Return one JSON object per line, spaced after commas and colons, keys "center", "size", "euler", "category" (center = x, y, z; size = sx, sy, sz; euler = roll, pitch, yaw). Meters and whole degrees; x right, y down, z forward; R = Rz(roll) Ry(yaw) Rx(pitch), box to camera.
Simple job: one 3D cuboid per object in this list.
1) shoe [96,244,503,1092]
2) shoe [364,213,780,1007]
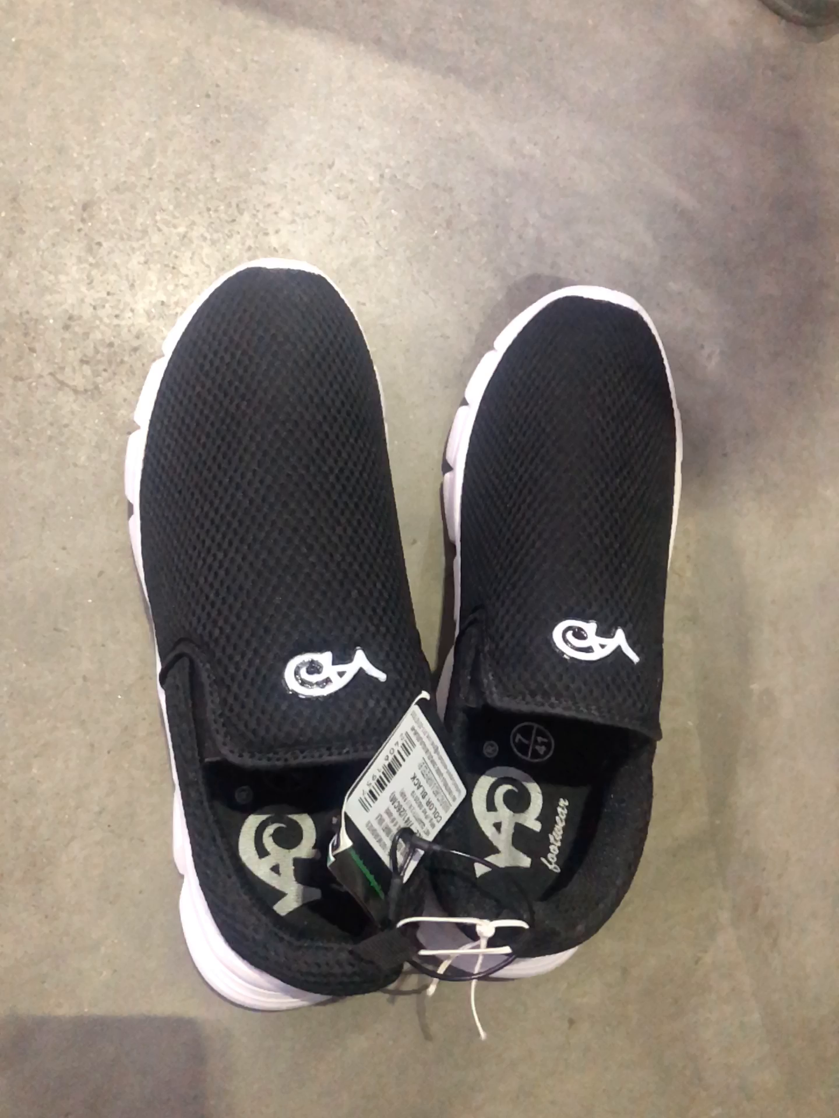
{"center": [-0.052, 0.030, 0.349], "size": [0.110, 0.100, 0.260], "euler": [-4, 85, -17], "category": "shoe"}
{"center": [0.058, 0.018, 0.382], "size": [0.110, 0.100, 0.270], "euler": [10, 81, -6], "category": "shoe"}
